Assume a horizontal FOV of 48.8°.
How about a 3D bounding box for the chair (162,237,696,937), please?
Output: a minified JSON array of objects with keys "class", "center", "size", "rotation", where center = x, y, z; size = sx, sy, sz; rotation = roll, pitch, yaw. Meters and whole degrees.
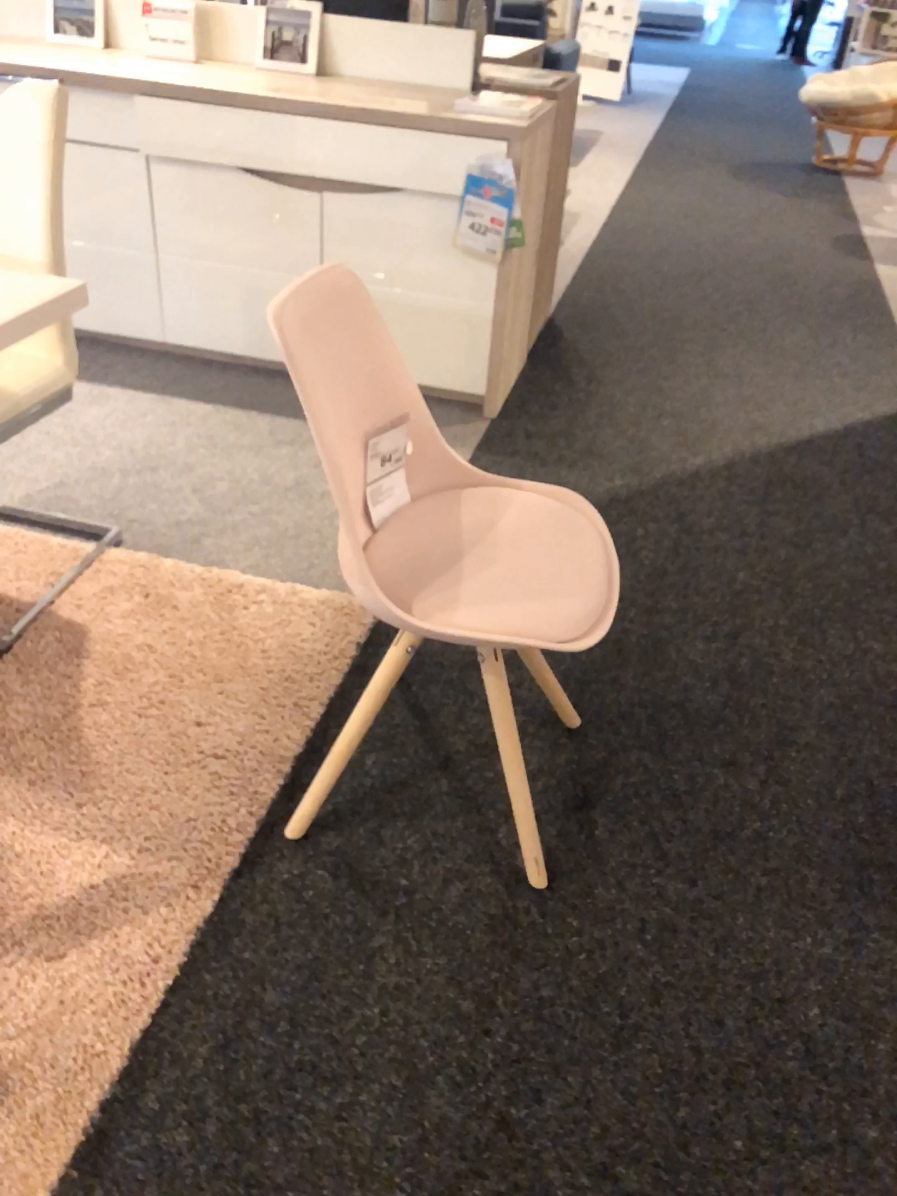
[{"class":"chair","center":[-0.001,-0.040,1.470],"size":[0.560,0.765,0.574],"rotation":[11,34,9]}]
